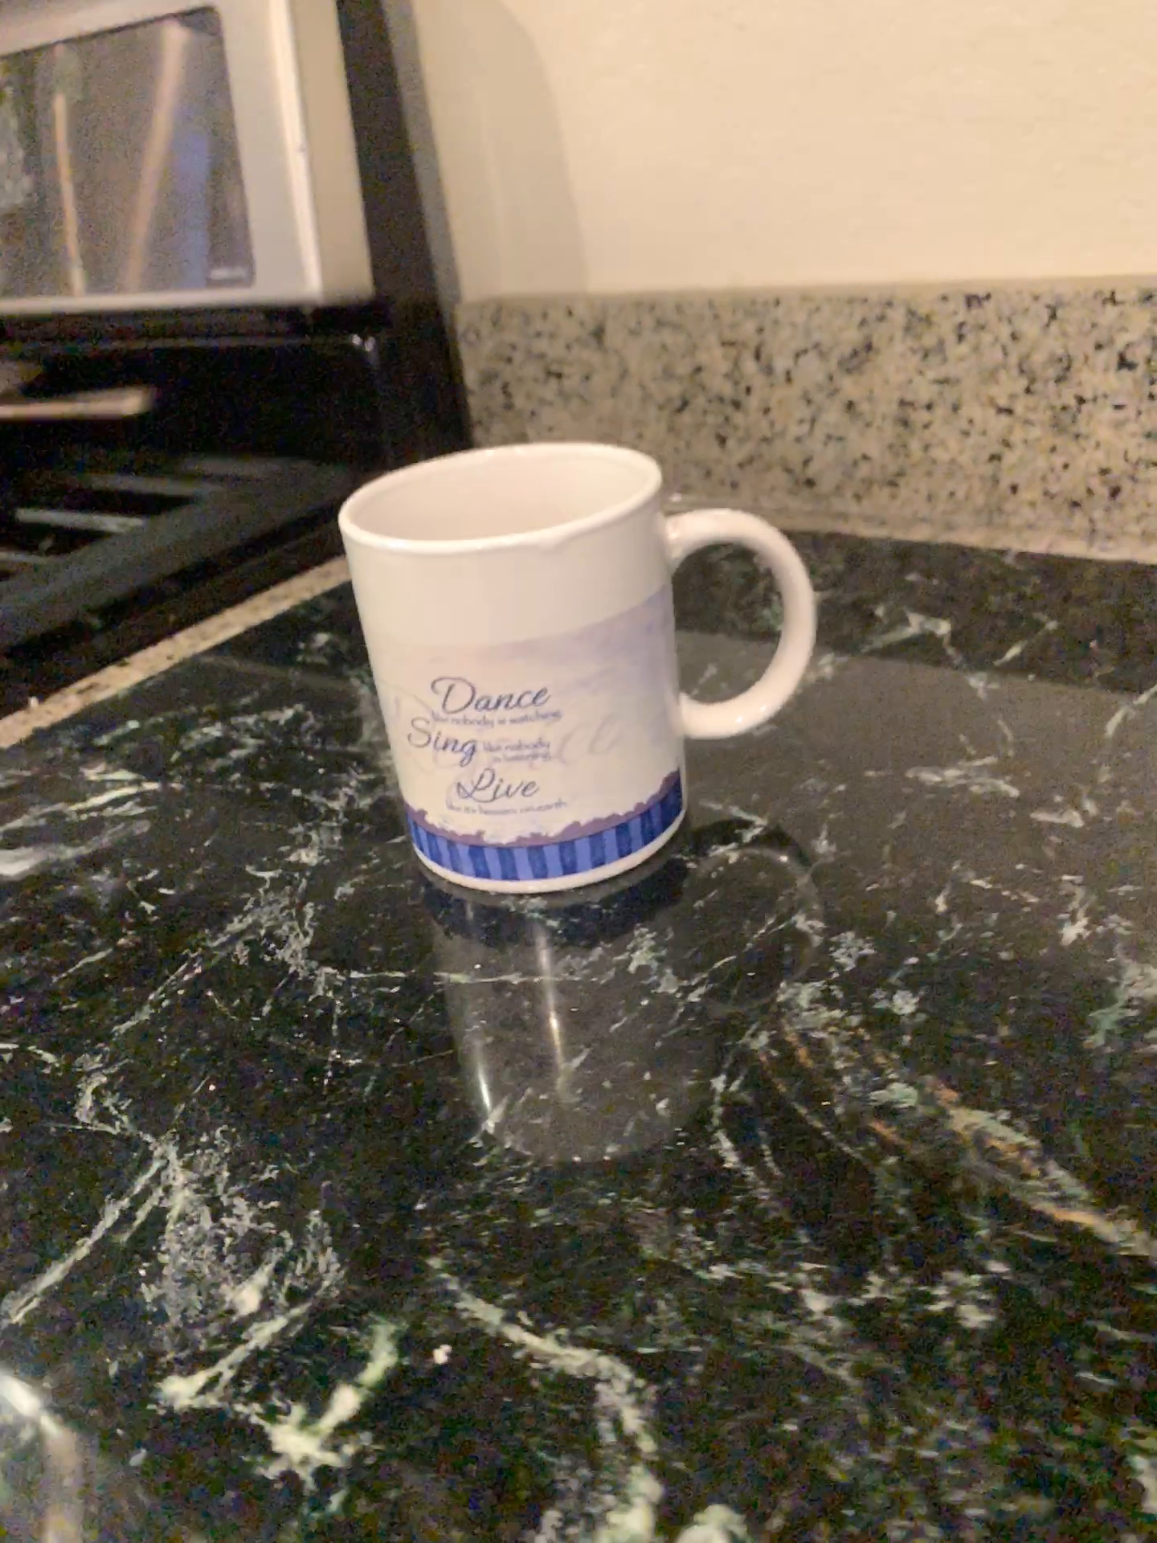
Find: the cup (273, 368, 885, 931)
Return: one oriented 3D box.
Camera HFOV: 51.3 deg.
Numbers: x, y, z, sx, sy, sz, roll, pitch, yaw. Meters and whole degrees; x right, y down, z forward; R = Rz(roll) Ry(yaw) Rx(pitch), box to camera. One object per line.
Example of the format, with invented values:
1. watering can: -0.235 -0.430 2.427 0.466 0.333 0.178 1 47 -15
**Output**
1. cup: 0.001 -0.037 0.315 0.130 0.099 0.091 -10 28 -4
